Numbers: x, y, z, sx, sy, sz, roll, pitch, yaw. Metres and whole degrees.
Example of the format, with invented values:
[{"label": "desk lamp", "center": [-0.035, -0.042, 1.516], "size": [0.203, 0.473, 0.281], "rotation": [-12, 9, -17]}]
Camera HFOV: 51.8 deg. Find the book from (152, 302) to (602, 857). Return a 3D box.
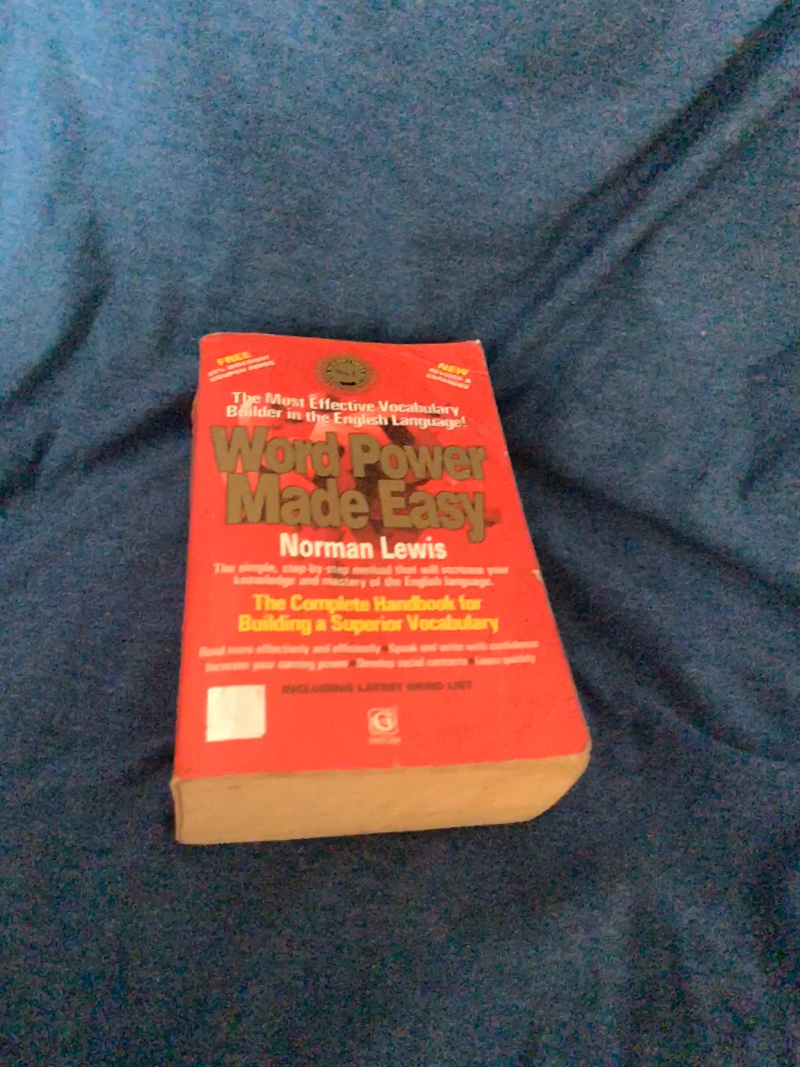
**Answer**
[{"label": "book", "center": [-0.019, 0.003, 0.291], "size": [0.120, 0.050, 0.191], "rotation": [0, 53, -13]}]
